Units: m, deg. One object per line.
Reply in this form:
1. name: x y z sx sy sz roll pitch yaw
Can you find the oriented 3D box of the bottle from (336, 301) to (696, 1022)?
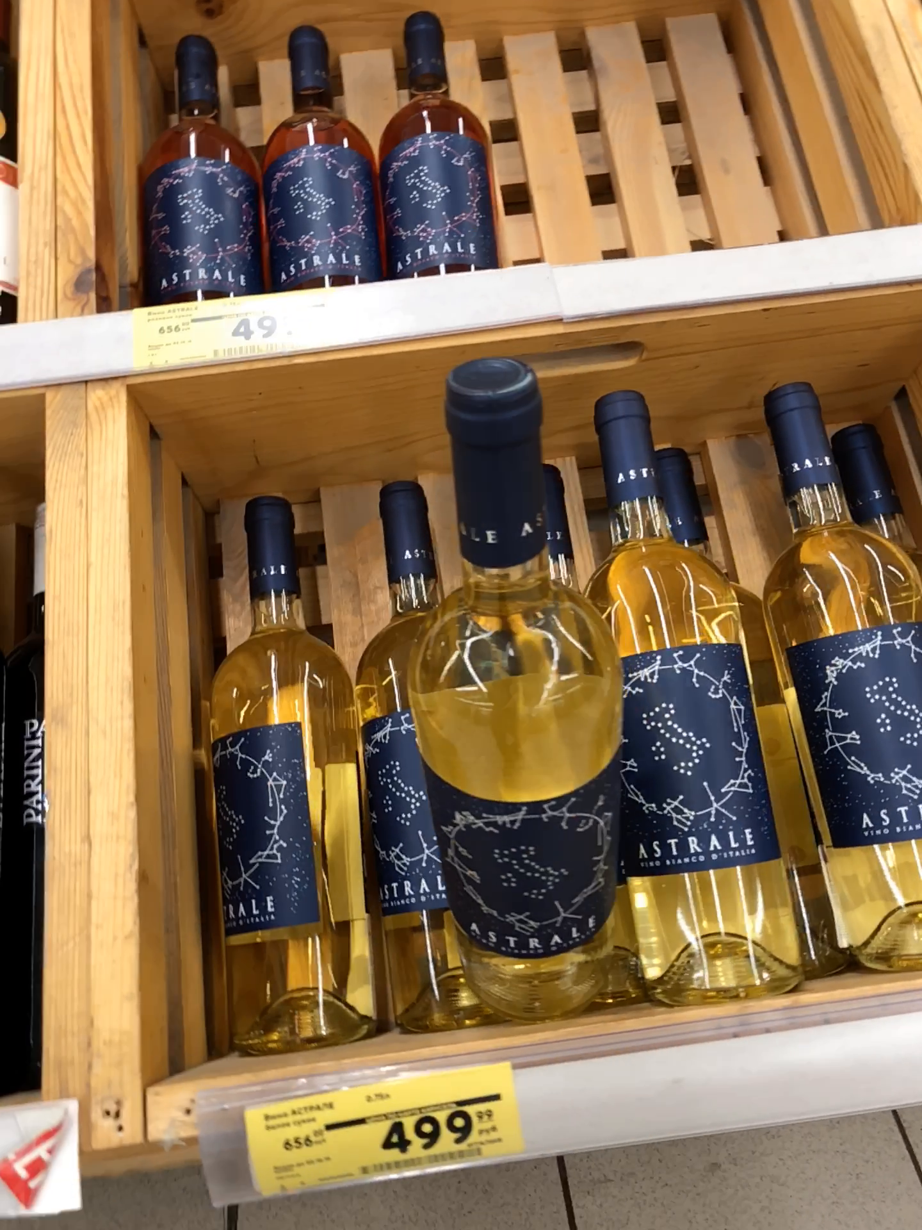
1. bottle: 0.024 0.038 0.372 0.090 0.278 0.080 -1 39 4
